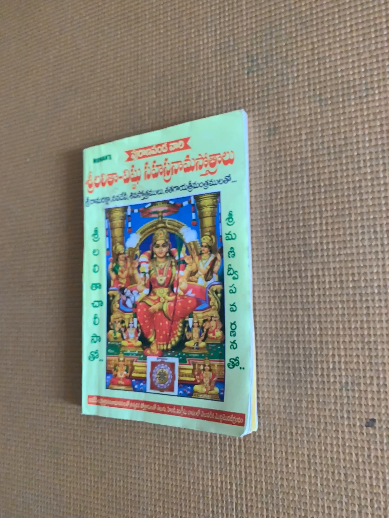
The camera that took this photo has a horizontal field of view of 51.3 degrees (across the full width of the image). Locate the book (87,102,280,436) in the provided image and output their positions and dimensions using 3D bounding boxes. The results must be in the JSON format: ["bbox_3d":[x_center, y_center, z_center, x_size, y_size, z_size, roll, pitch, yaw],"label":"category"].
[{"bbox_3d":[-0.016,0.007,0.293,0.140,0.020,0.210,-5,83,26],"label":"book"}]
